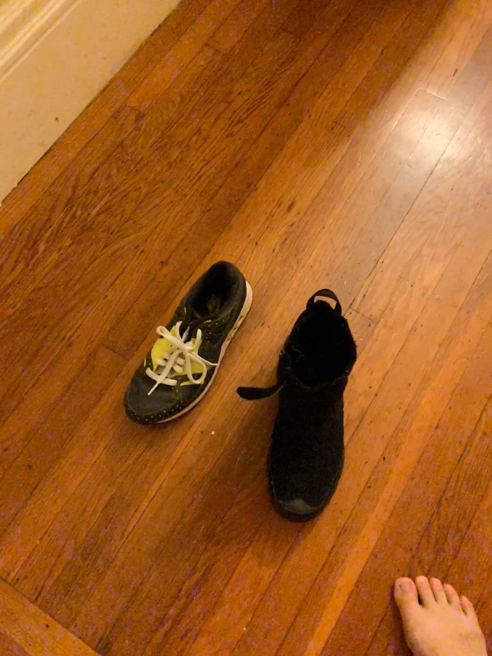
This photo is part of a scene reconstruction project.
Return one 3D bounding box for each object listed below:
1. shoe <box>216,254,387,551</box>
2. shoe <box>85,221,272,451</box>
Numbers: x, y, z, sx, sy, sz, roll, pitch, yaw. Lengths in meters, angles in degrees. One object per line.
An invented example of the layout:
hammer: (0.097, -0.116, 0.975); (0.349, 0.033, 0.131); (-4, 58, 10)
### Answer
shoe: (0.069, 0.104, 0.669); (0.160, 0.240, 0.310); (7, 72, 2)
shoe: (-0.084, 0.011, 0.716); (0.120, 0.100, 0.290); (26, 74, 8)
